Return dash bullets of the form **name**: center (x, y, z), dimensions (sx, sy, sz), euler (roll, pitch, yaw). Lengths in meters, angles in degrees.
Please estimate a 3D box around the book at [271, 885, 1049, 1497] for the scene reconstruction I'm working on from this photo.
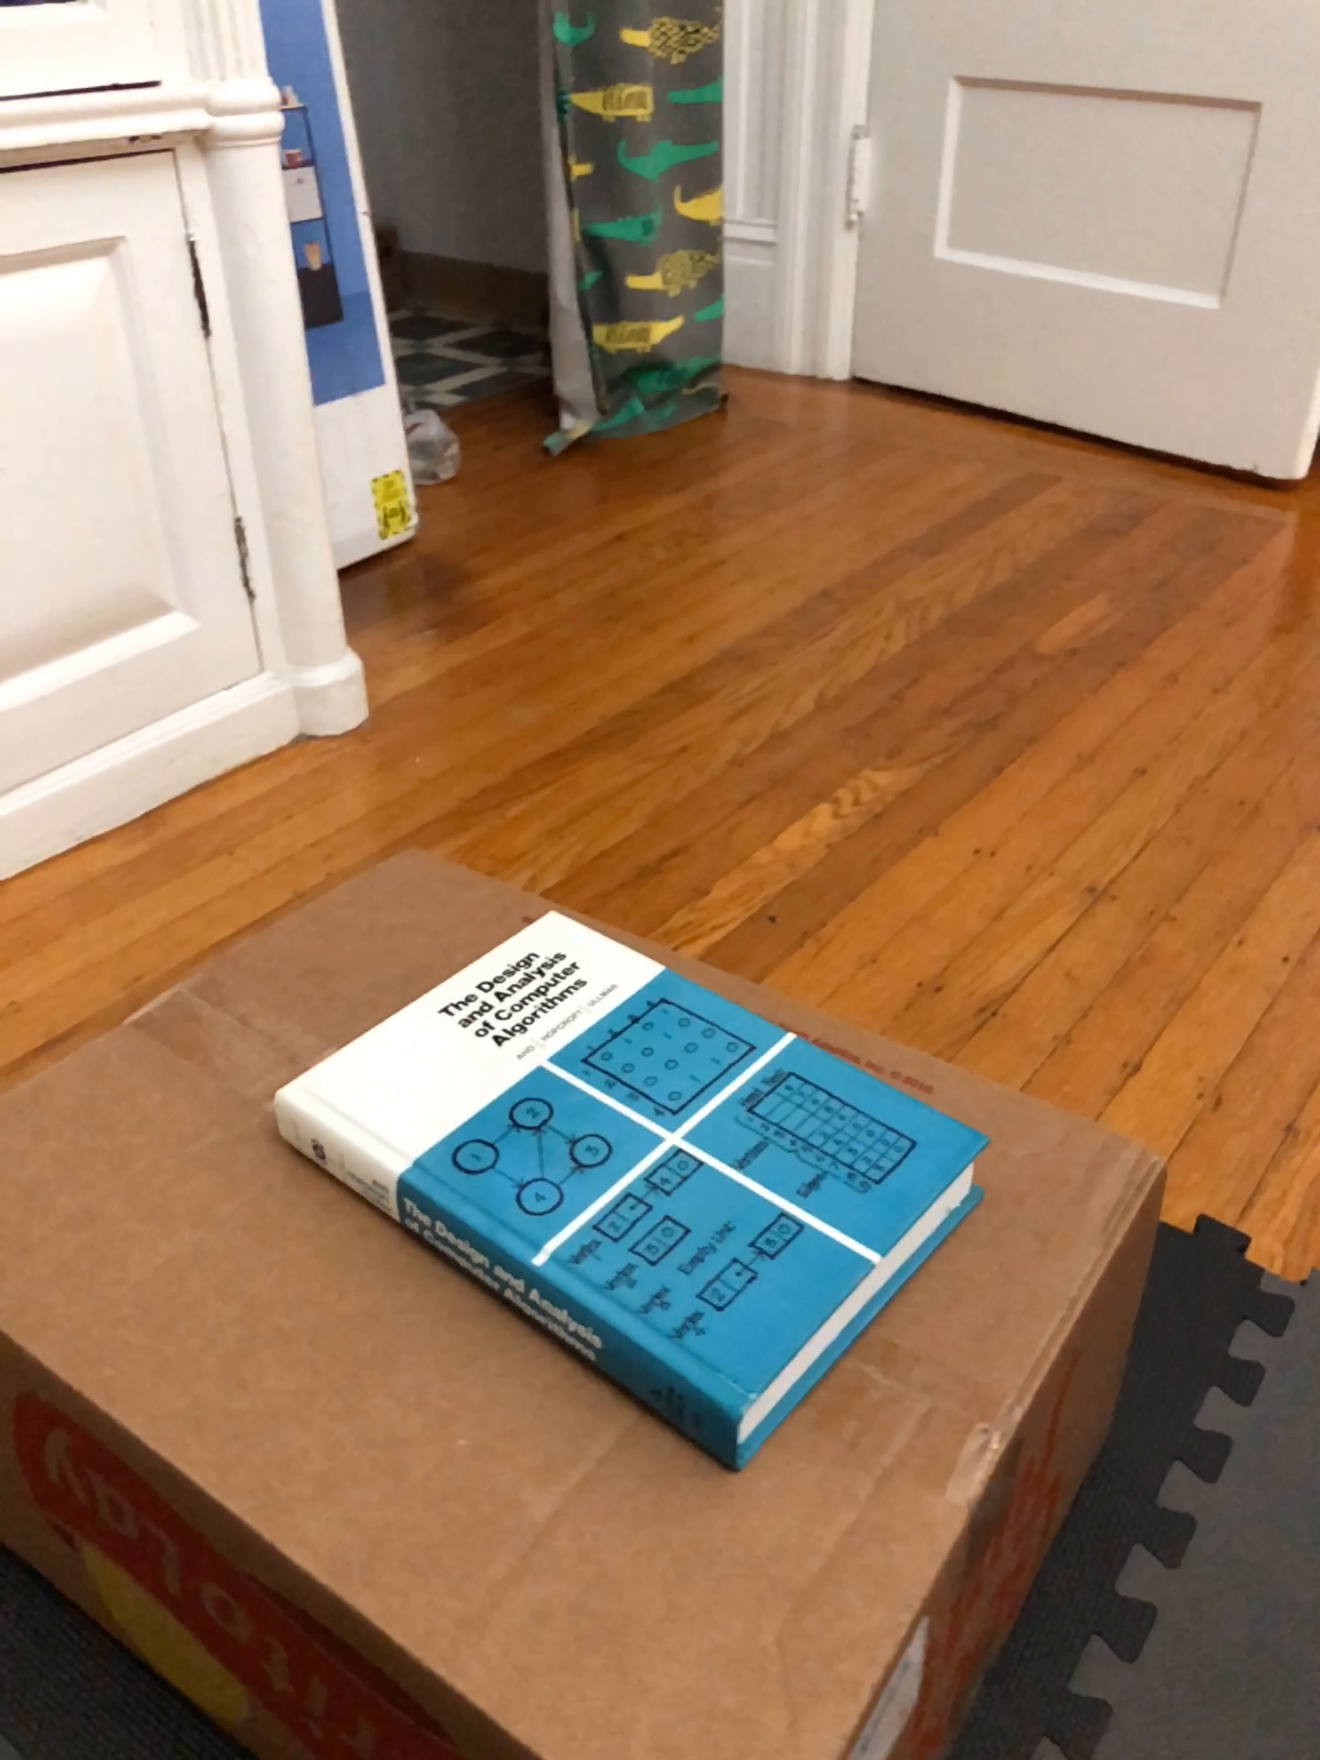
- **book**: center (-0.002, 0.105, 0.610), dimensions (0.260, 0.040, 0.191), euler (25, 40, 33)
